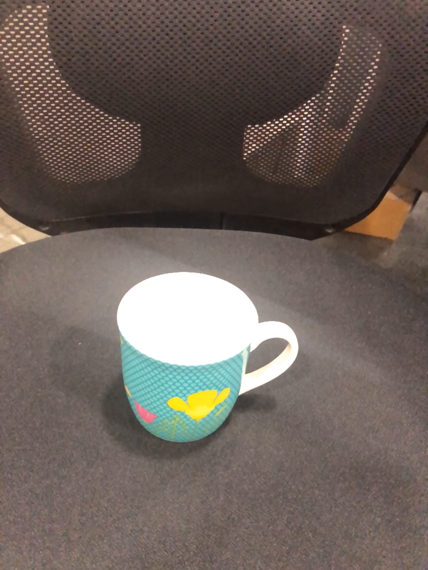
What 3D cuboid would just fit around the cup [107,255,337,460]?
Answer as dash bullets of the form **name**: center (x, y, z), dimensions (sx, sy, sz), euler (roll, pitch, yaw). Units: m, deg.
- **cup**: center (-0.002, 0.041, 0.286), dimensions (0.110, 0.080, 0.070), euler (-7, 44, -17)
